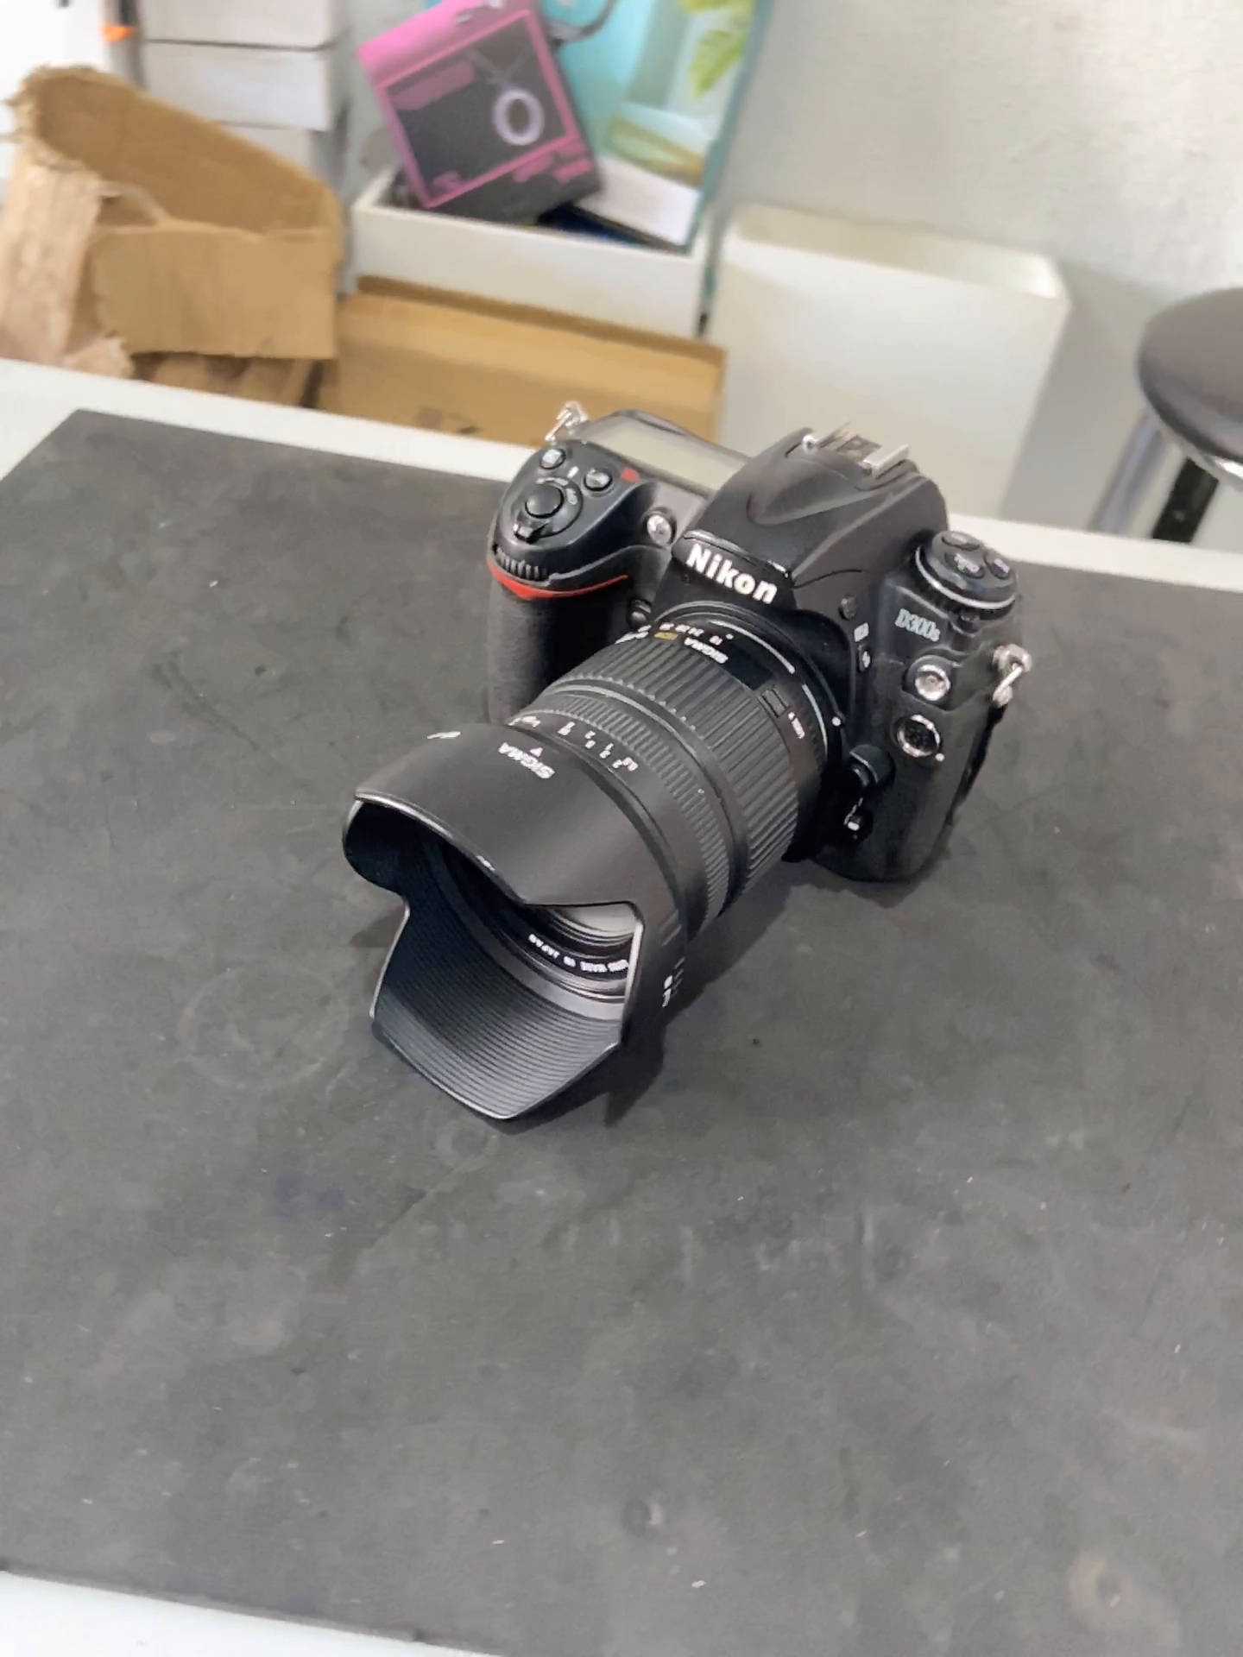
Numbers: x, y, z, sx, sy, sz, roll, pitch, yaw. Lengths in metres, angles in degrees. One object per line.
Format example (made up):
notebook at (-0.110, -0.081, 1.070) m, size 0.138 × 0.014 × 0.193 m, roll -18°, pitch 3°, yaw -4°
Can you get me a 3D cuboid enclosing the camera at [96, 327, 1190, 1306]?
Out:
camera at (0.009, -0.025, 0.321) m, size 0.170 × 0.109 × 0.181 m, roll 31°, pitch 46°, yaw 25°
